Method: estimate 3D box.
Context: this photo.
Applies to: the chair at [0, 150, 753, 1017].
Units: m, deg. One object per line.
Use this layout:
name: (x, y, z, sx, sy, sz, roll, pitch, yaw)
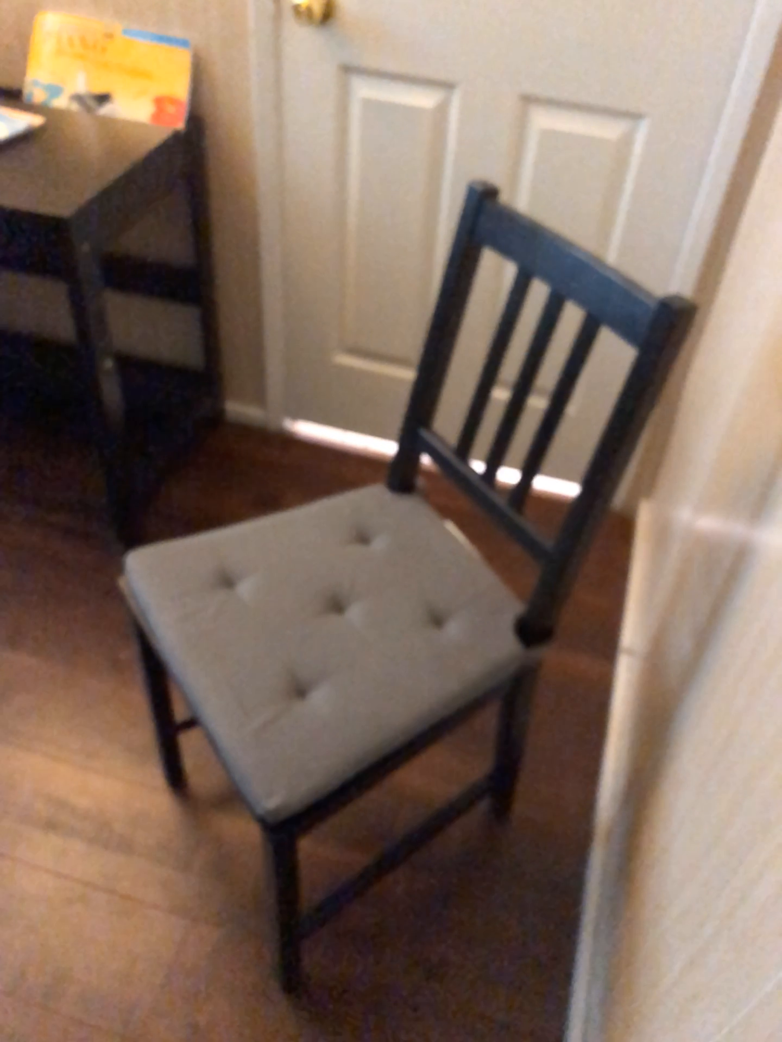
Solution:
chair: (-0.050, 0.095, 1.049, 0.511, 0.834, 0.442, -22, 49, -27)
